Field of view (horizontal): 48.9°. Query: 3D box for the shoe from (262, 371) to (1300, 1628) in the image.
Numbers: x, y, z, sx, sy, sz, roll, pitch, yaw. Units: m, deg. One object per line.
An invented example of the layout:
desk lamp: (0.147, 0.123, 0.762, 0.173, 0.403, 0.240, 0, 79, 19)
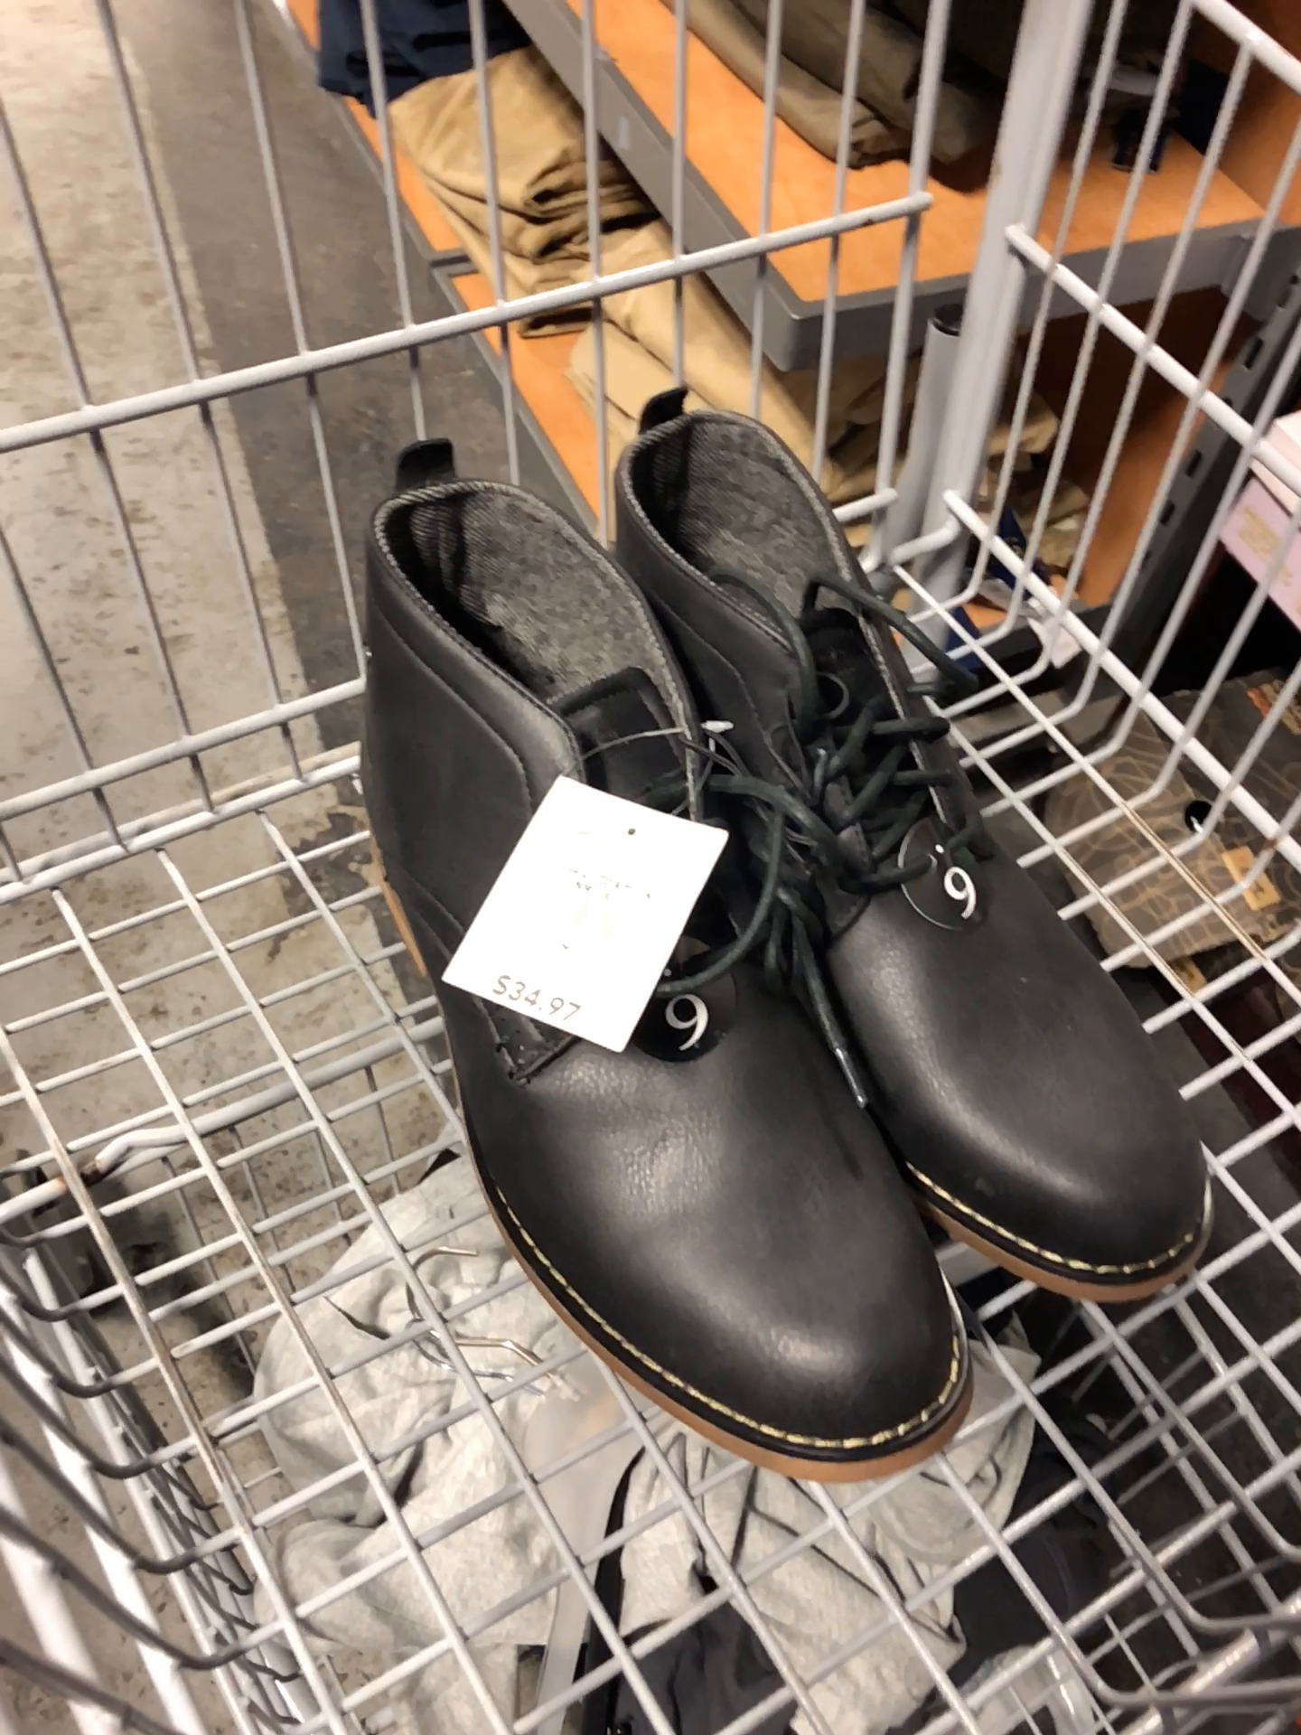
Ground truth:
shoe: (0.003, 0.038, 0.388, 0.100, 0.199, 0.261, -23, 62, -22)

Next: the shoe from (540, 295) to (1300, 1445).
shoe: (0.079, 0.002, 0.434, 0.100, 0.199, 0.271, -23, 62, -22)
